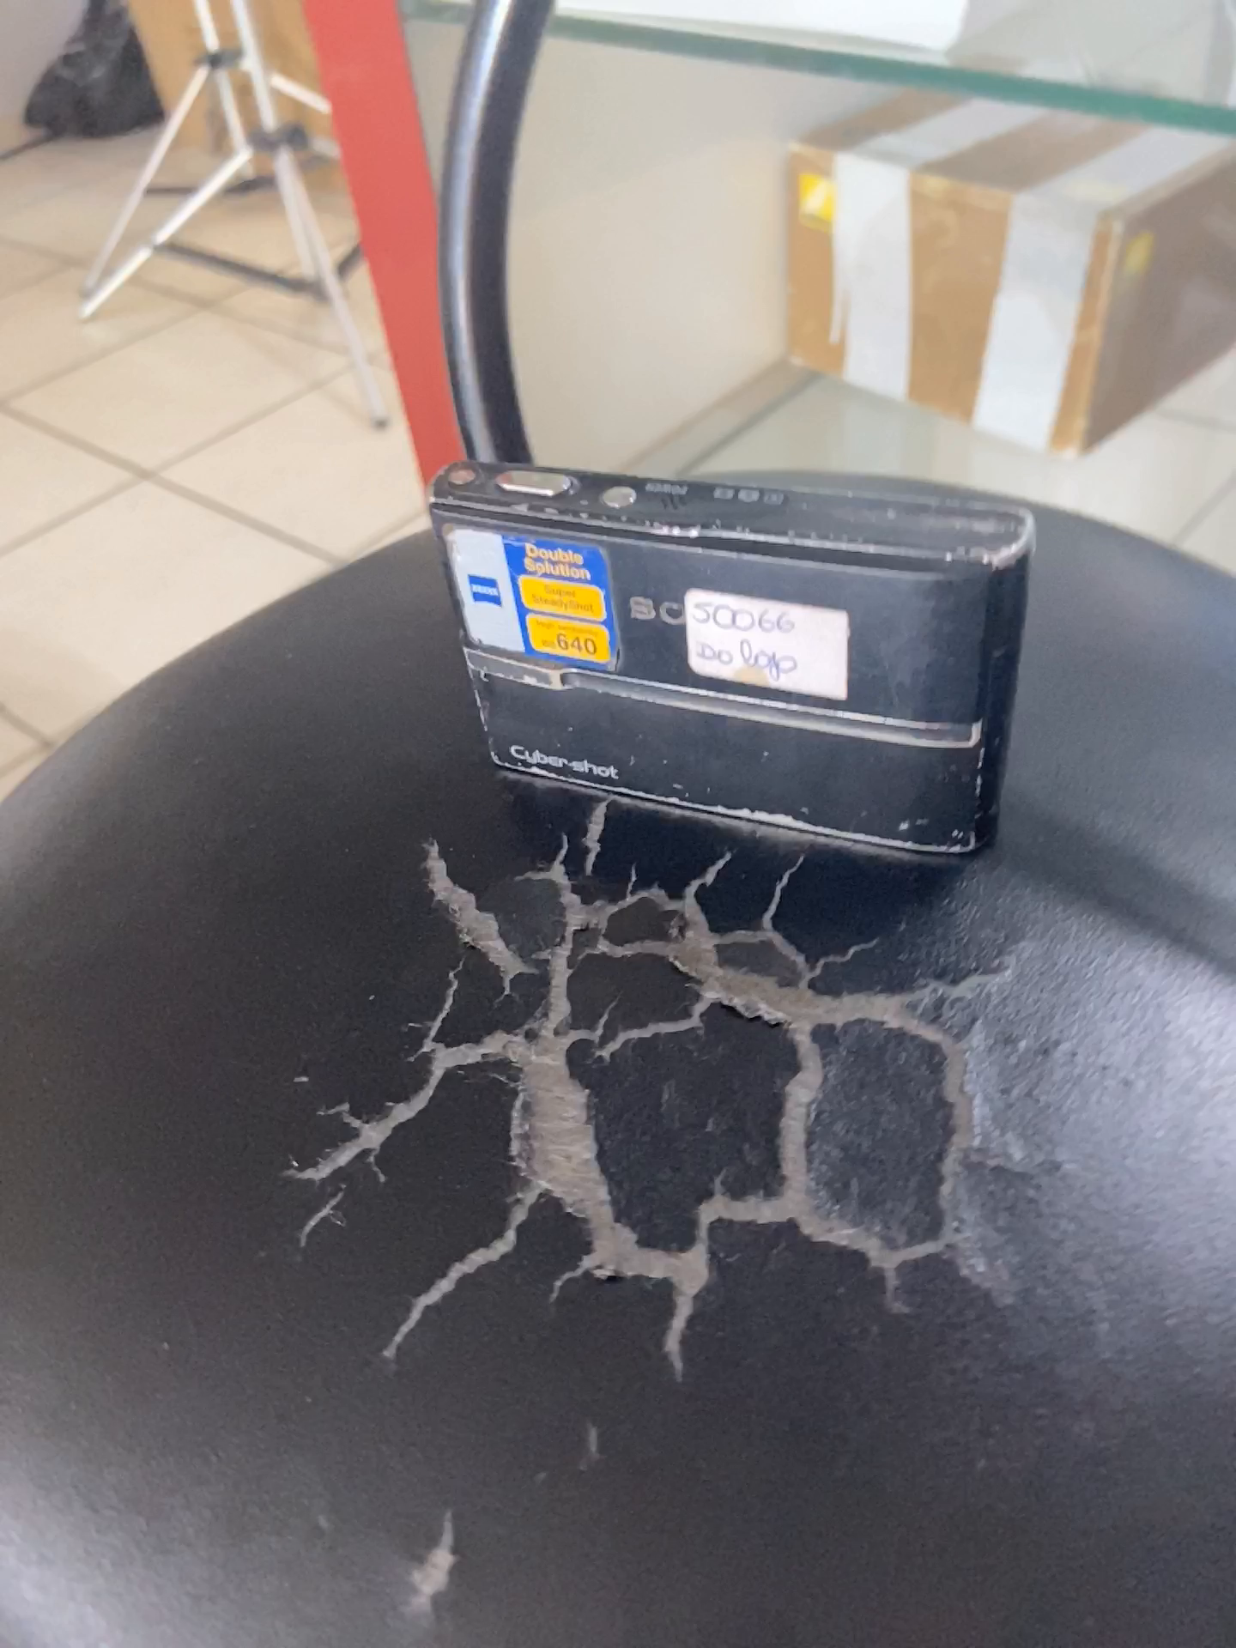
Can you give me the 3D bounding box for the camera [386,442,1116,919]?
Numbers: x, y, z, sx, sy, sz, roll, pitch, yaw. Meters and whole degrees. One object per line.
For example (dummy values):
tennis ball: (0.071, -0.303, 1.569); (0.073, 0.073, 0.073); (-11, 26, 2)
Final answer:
camera: (0.019, -0.023, 0.201); (0.100, 0.060, 0.020); (11, 47, 20)
